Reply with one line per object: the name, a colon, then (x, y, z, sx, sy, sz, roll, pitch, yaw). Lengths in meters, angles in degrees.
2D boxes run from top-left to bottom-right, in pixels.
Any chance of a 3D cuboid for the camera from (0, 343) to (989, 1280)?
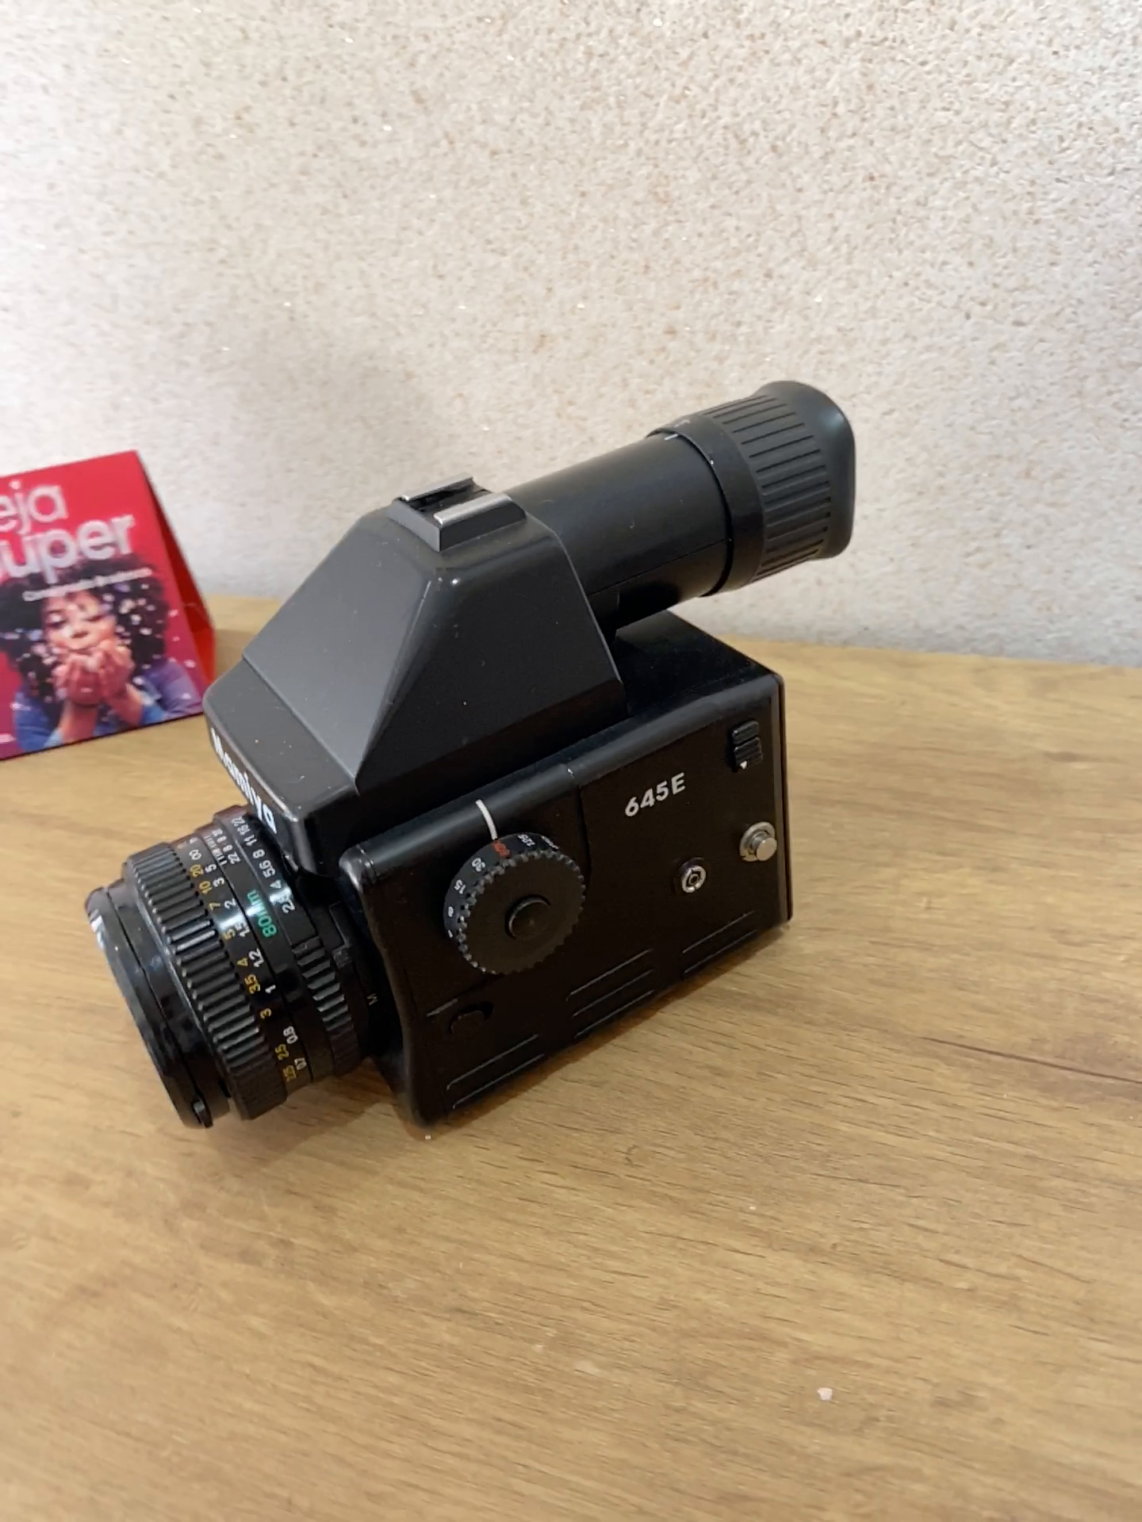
camera: (-0.021, -0.011, 0.296, 0.221, 0.109, 0.120, -27, 37, -24)
